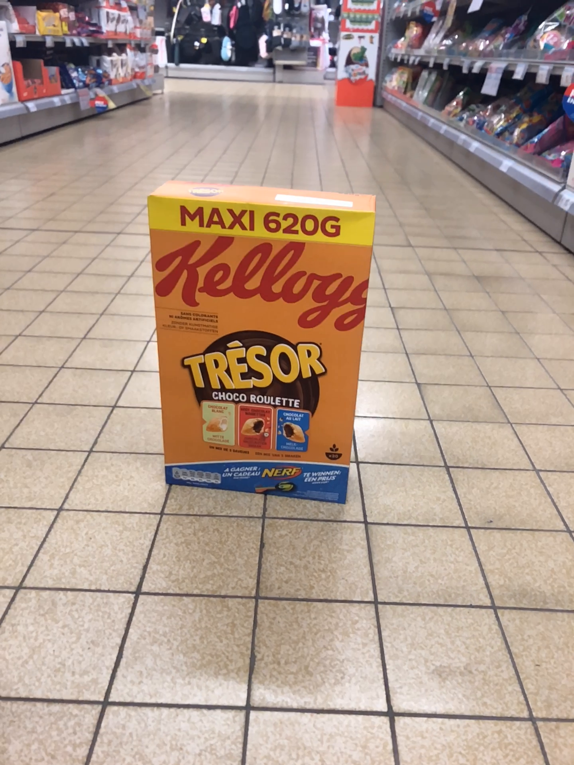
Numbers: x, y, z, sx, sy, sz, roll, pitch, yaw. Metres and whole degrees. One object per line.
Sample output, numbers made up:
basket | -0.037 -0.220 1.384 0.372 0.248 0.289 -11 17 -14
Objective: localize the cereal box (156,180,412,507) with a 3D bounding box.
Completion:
cereal box | -0.005 -0.032 0.605 0.210 0.288 0.070 6 27 7
